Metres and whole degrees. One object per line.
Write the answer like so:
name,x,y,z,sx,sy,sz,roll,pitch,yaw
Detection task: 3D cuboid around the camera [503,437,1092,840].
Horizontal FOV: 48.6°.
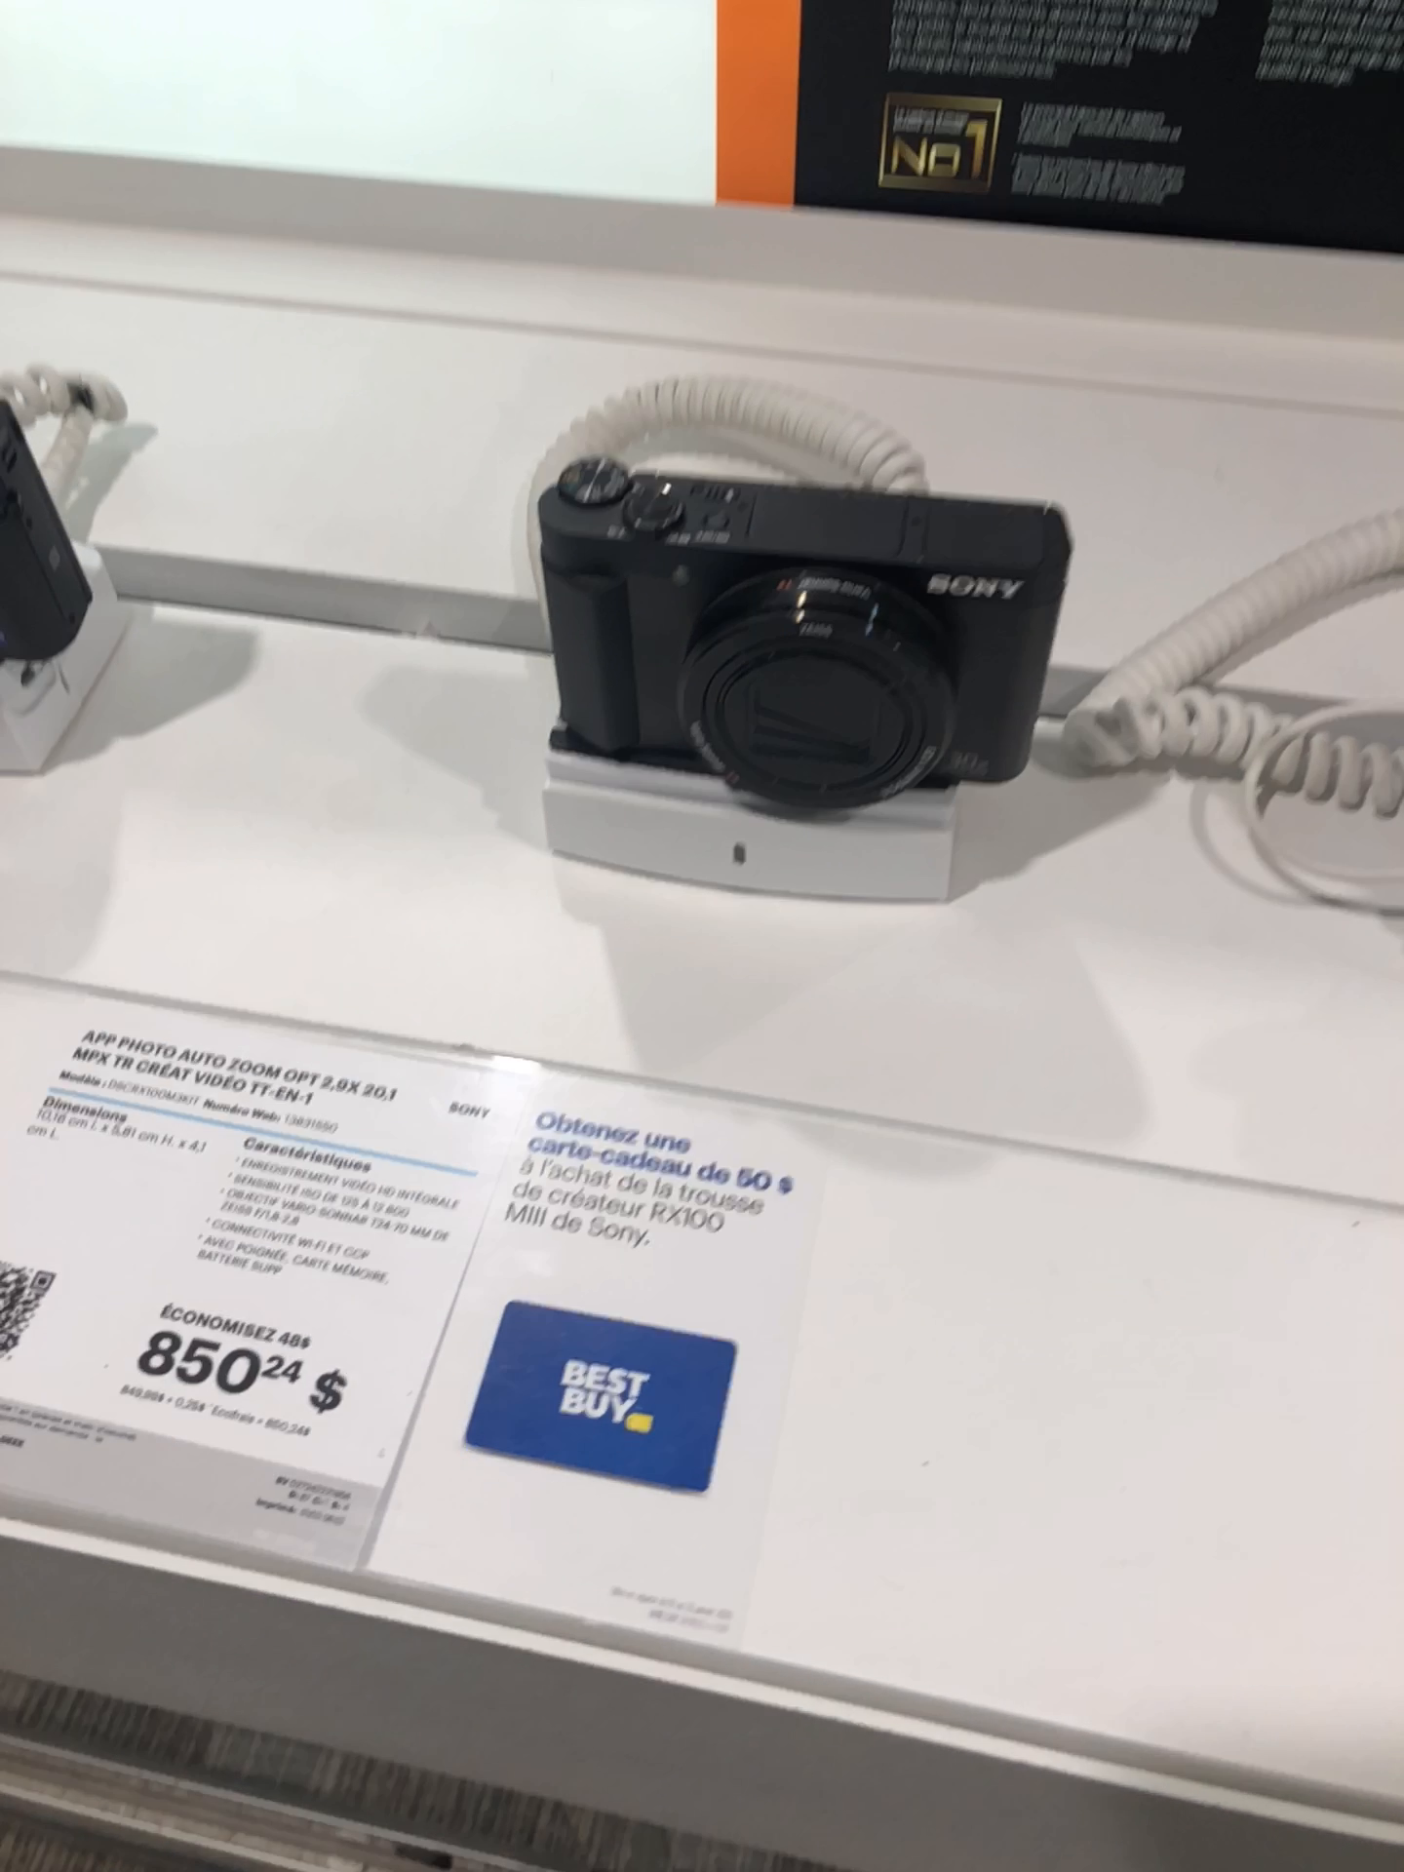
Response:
camera,0.020,-0.061,0.324,0.110,0.070,0.030,7,50,7
